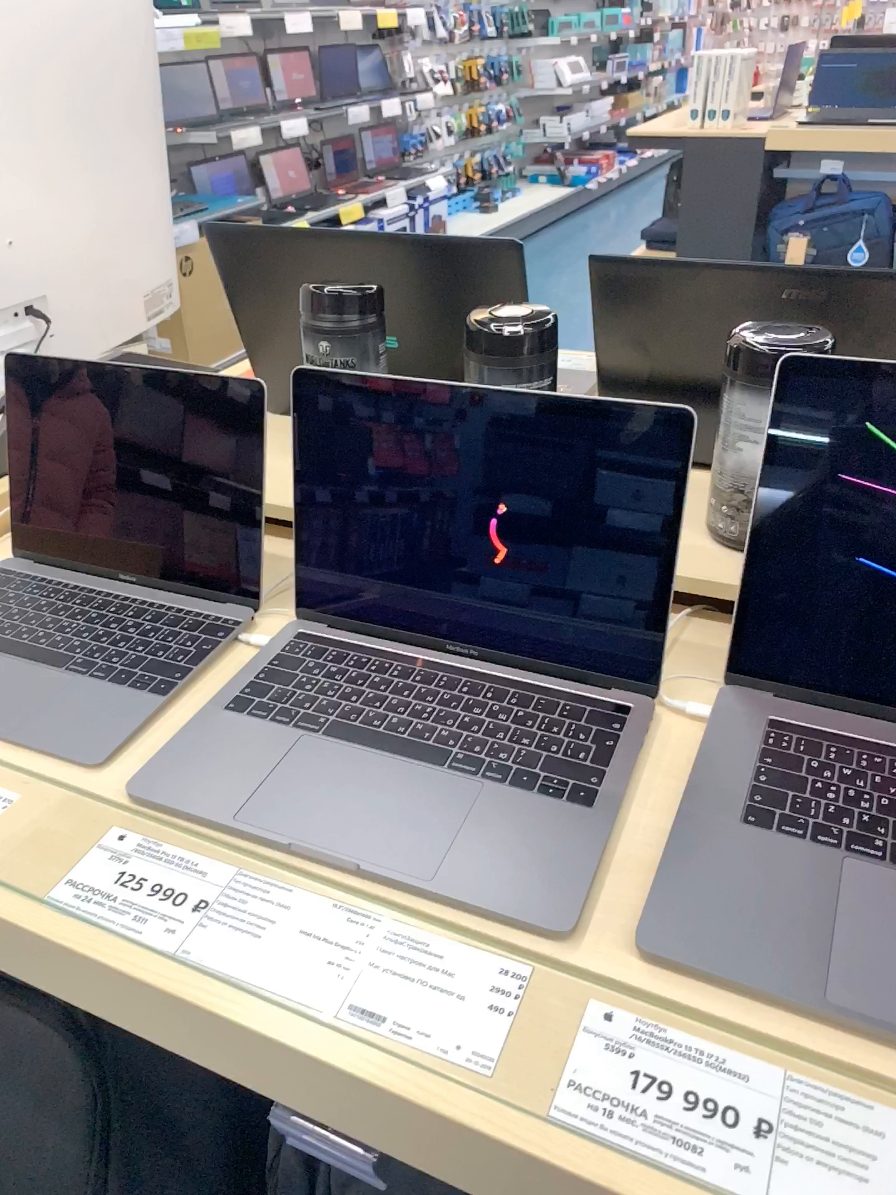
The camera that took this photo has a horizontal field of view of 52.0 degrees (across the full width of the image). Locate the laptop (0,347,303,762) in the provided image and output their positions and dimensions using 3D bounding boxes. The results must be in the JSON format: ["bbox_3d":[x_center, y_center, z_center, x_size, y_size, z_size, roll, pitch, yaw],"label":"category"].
[{"bbox_3d":[-0.313,-0.058,0.722,0.280,0.172,0.267,11,36,21],"label":"laptop"}]

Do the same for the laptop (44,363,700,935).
[{"bbox_3d":[-0.024,0.001,0.586,0.299,0.195,0.261,11,35,21],"label":"laptop"}]

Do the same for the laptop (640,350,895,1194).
[{"bbox_3d":[0.321,0.038,0.474,0.346,0.210,0.328,12,35,23],"label":"laptop"}]
